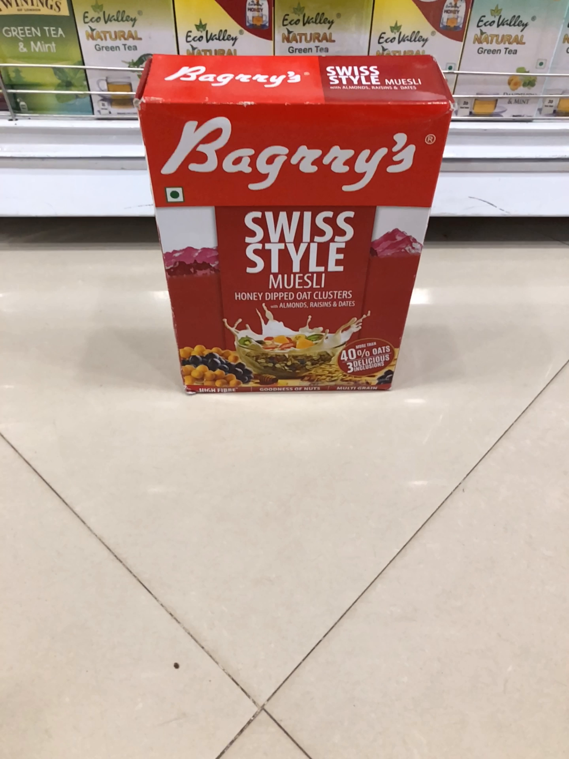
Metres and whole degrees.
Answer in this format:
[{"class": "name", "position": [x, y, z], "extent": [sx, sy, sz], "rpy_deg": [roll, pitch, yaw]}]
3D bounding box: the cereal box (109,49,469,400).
[{"class": "cereal box", "position": [0.001, -0.098, 0.467], "extent": [0.200, 0.248, 0.081], "rpy_deg": [-1, 47, -2]}]
